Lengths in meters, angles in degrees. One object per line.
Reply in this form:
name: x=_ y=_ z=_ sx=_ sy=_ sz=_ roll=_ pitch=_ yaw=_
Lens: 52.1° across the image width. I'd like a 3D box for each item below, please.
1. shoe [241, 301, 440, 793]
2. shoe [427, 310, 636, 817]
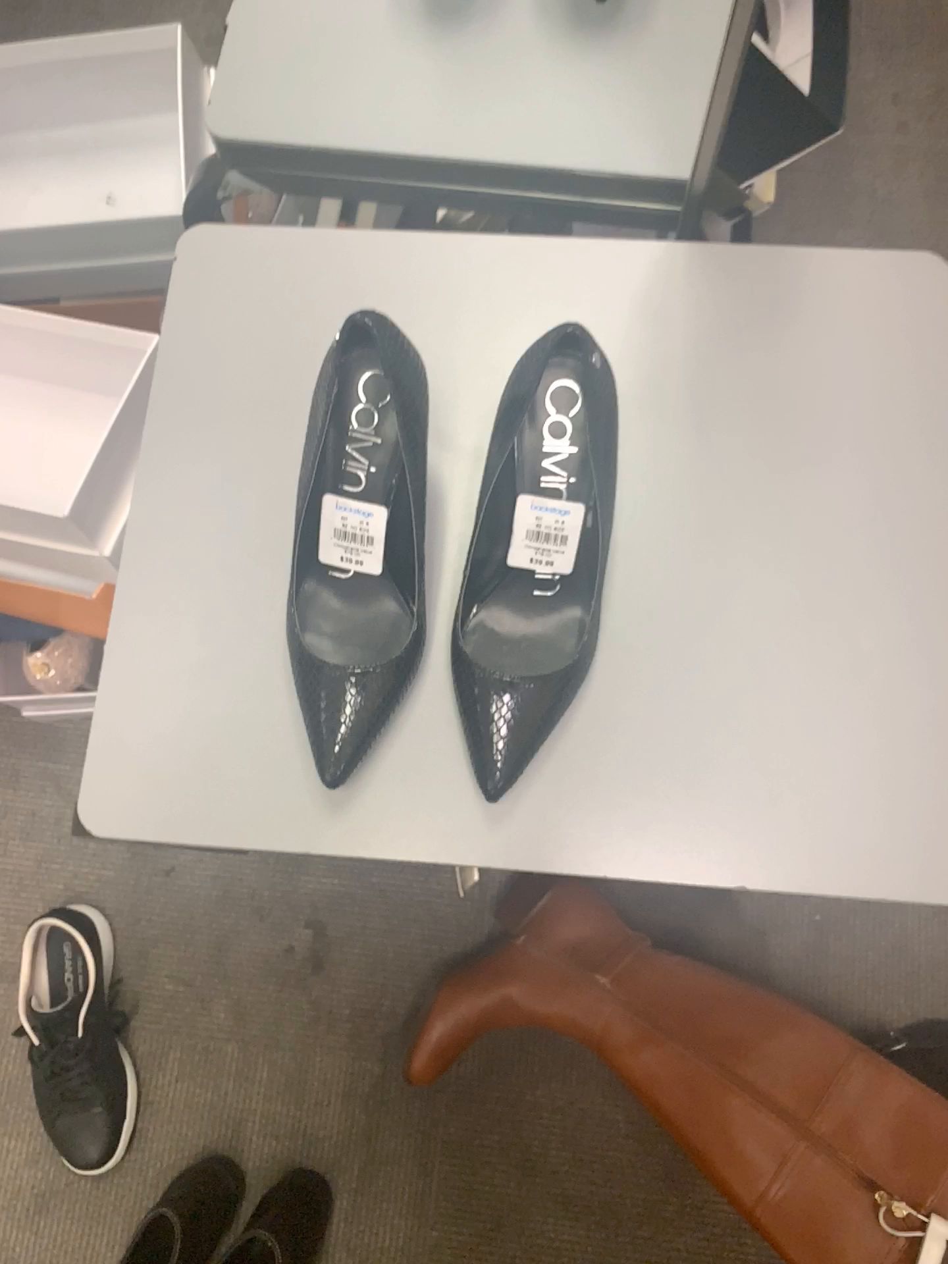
shoe: x=-0.066 y=-0.044 z=0.531 sx=0.080 sy=0.085 sz=0.253 roll=0 pitch=75 yaw=3
shoe: x=0.034 y=-0.036 z=0.523 sx=0.080 sy=0.084 sz=0.253 roll=5 pitch=76 yaw=4
